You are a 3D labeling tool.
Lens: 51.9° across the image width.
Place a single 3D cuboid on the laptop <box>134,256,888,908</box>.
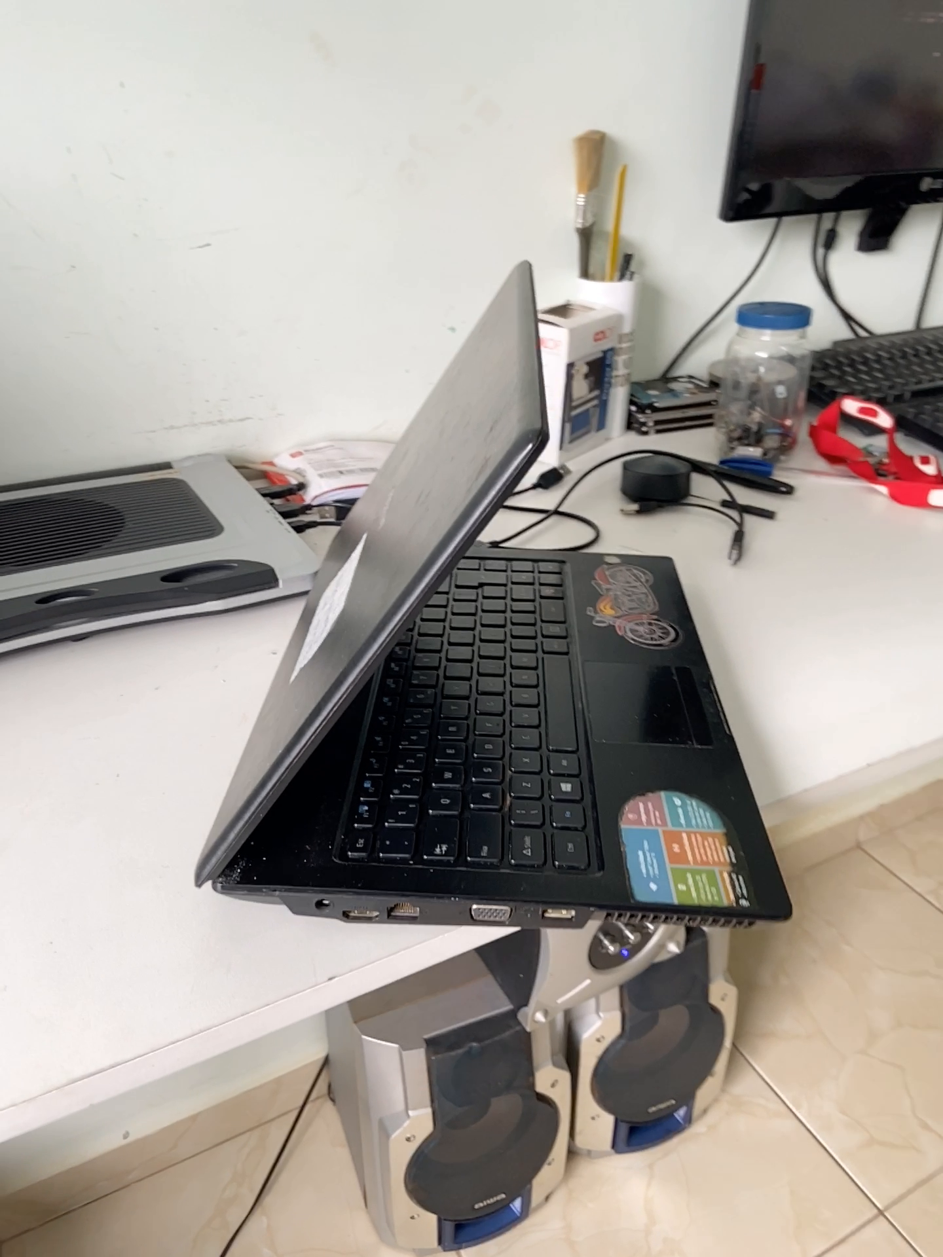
[{"bbox_3d":[0.018,-0.057,0.488,0.233,0.189,0.332,2,30,1],"label":"laptop"}]
